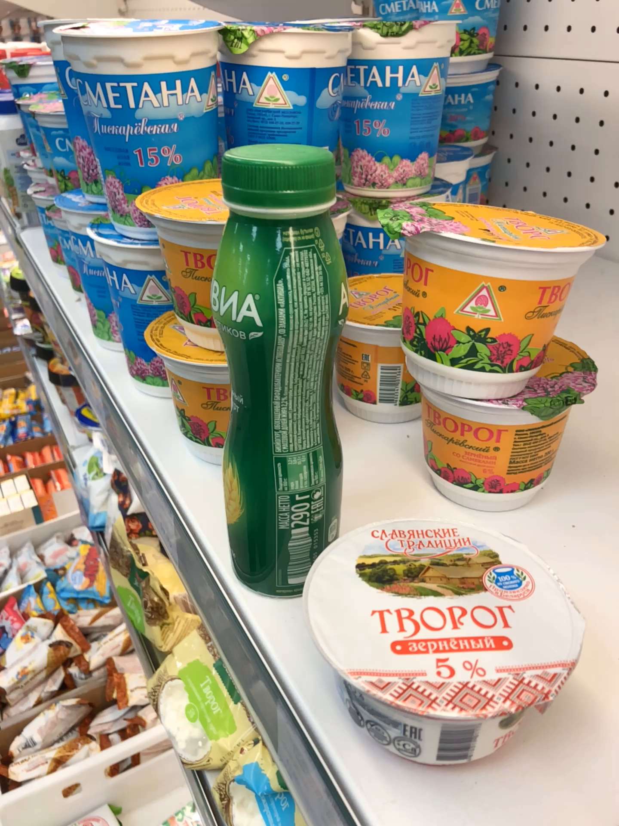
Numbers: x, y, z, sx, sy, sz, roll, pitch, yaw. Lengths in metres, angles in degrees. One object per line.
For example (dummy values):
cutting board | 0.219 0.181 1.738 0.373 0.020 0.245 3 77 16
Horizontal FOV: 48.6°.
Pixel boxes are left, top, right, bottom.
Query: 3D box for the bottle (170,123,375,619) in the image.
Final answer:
bottle | -0.014 -0.013 0.280 0.060 0.183 0.070 -7 30 -9
